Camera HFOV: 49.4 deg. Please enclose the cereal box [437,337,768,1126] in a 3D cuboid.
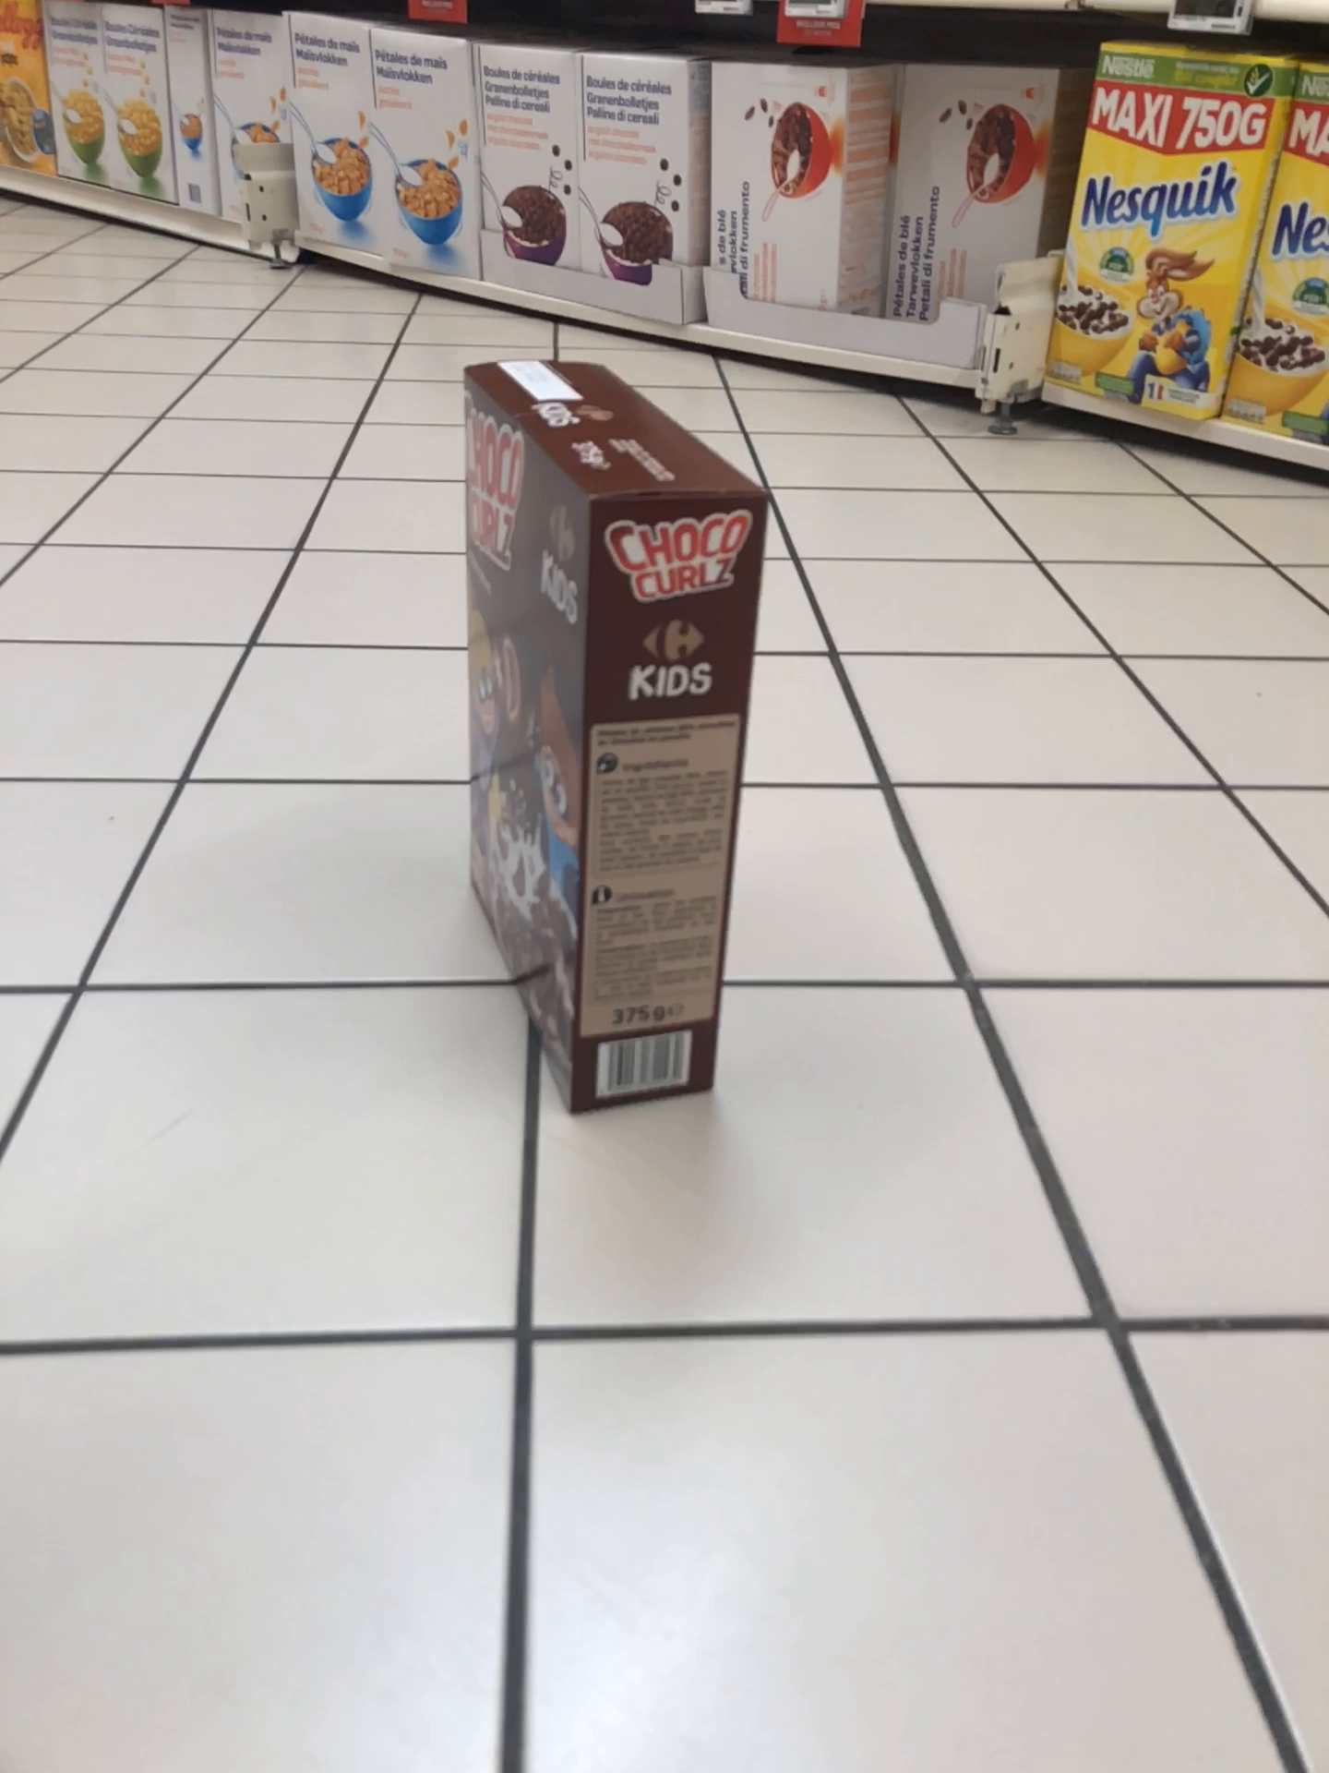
[{"bbox_3d":[-0.036,-0.071,0.598,0.070,0.258,0.201,-8,32,-16],"label":"cereal box"}]
